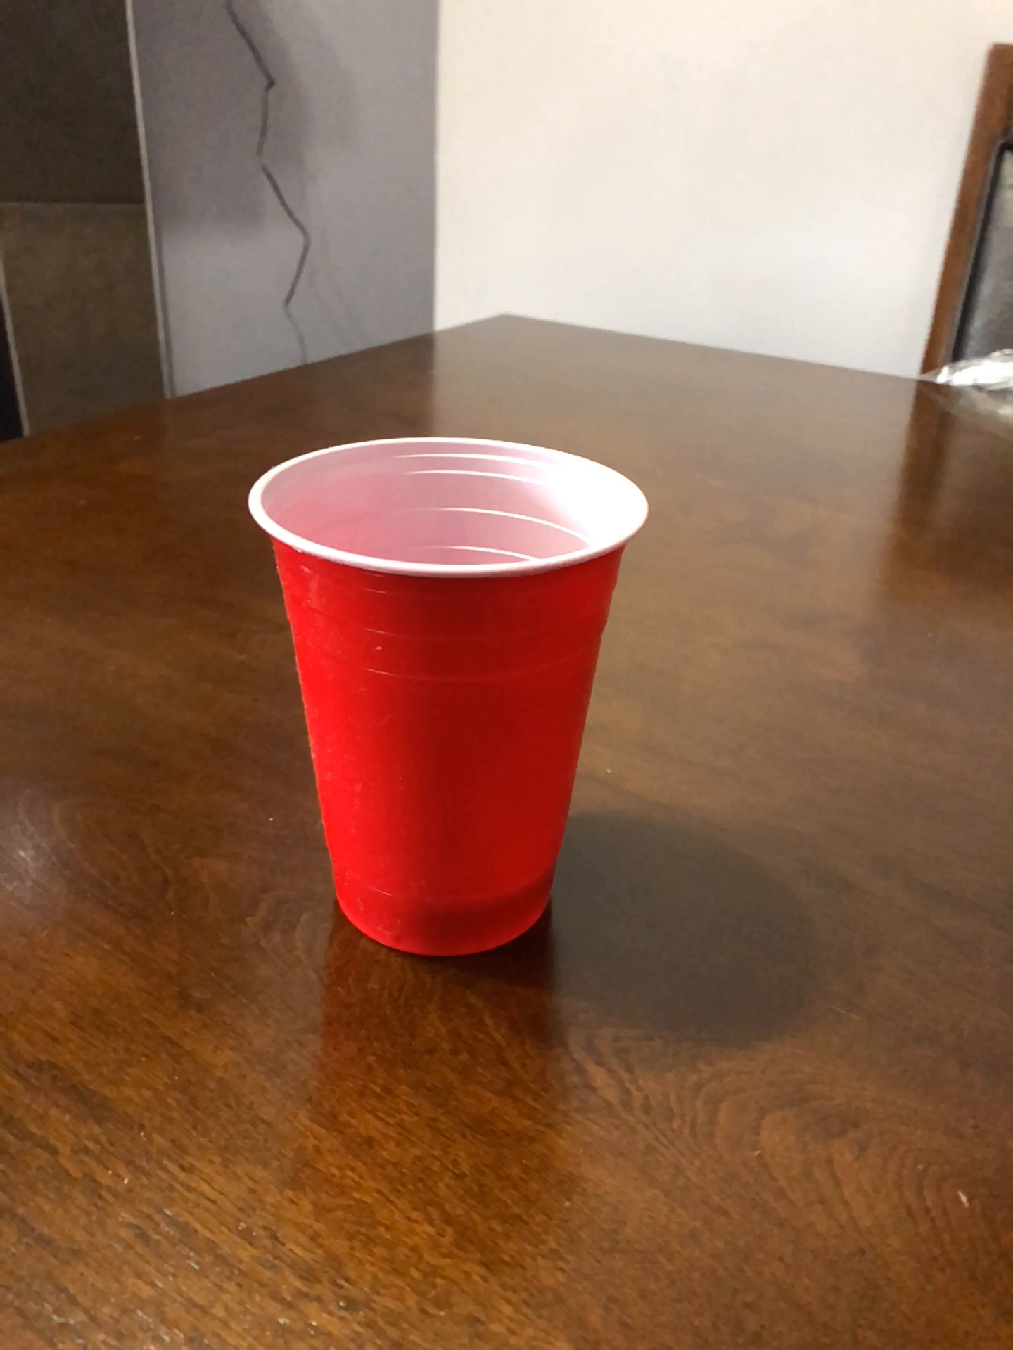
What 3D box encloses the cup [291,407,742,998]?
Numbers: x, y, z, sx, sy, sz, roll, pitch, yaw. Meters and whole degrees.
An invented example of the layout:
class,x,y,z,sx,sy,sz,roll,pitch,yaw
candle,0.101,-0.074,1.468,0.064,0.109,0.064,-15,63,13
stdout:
class,x,y,z,sx,sy,sz,roll,pitch,yaw
cup,-0.005,0.002,0.290,0.090,0.119,0.090,2,26,-1
